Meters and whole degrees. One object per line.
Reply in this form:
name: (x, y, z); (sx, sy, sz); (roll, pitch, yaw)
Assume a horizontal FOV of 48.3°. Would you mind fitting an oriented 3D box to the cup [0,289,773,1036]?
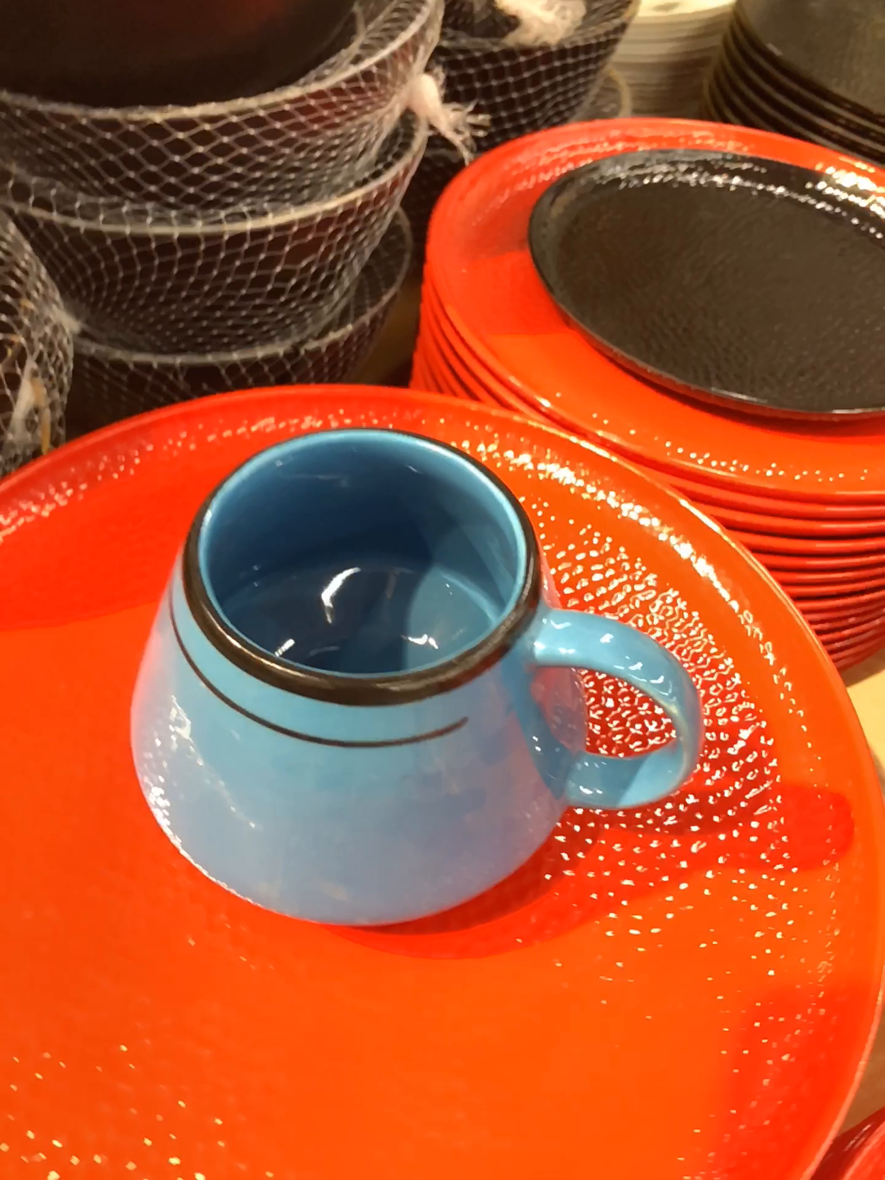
cup: (-0.010, 0.013, 0.231); (0.140, 0.089, 0.111); (15, 49, 6)
